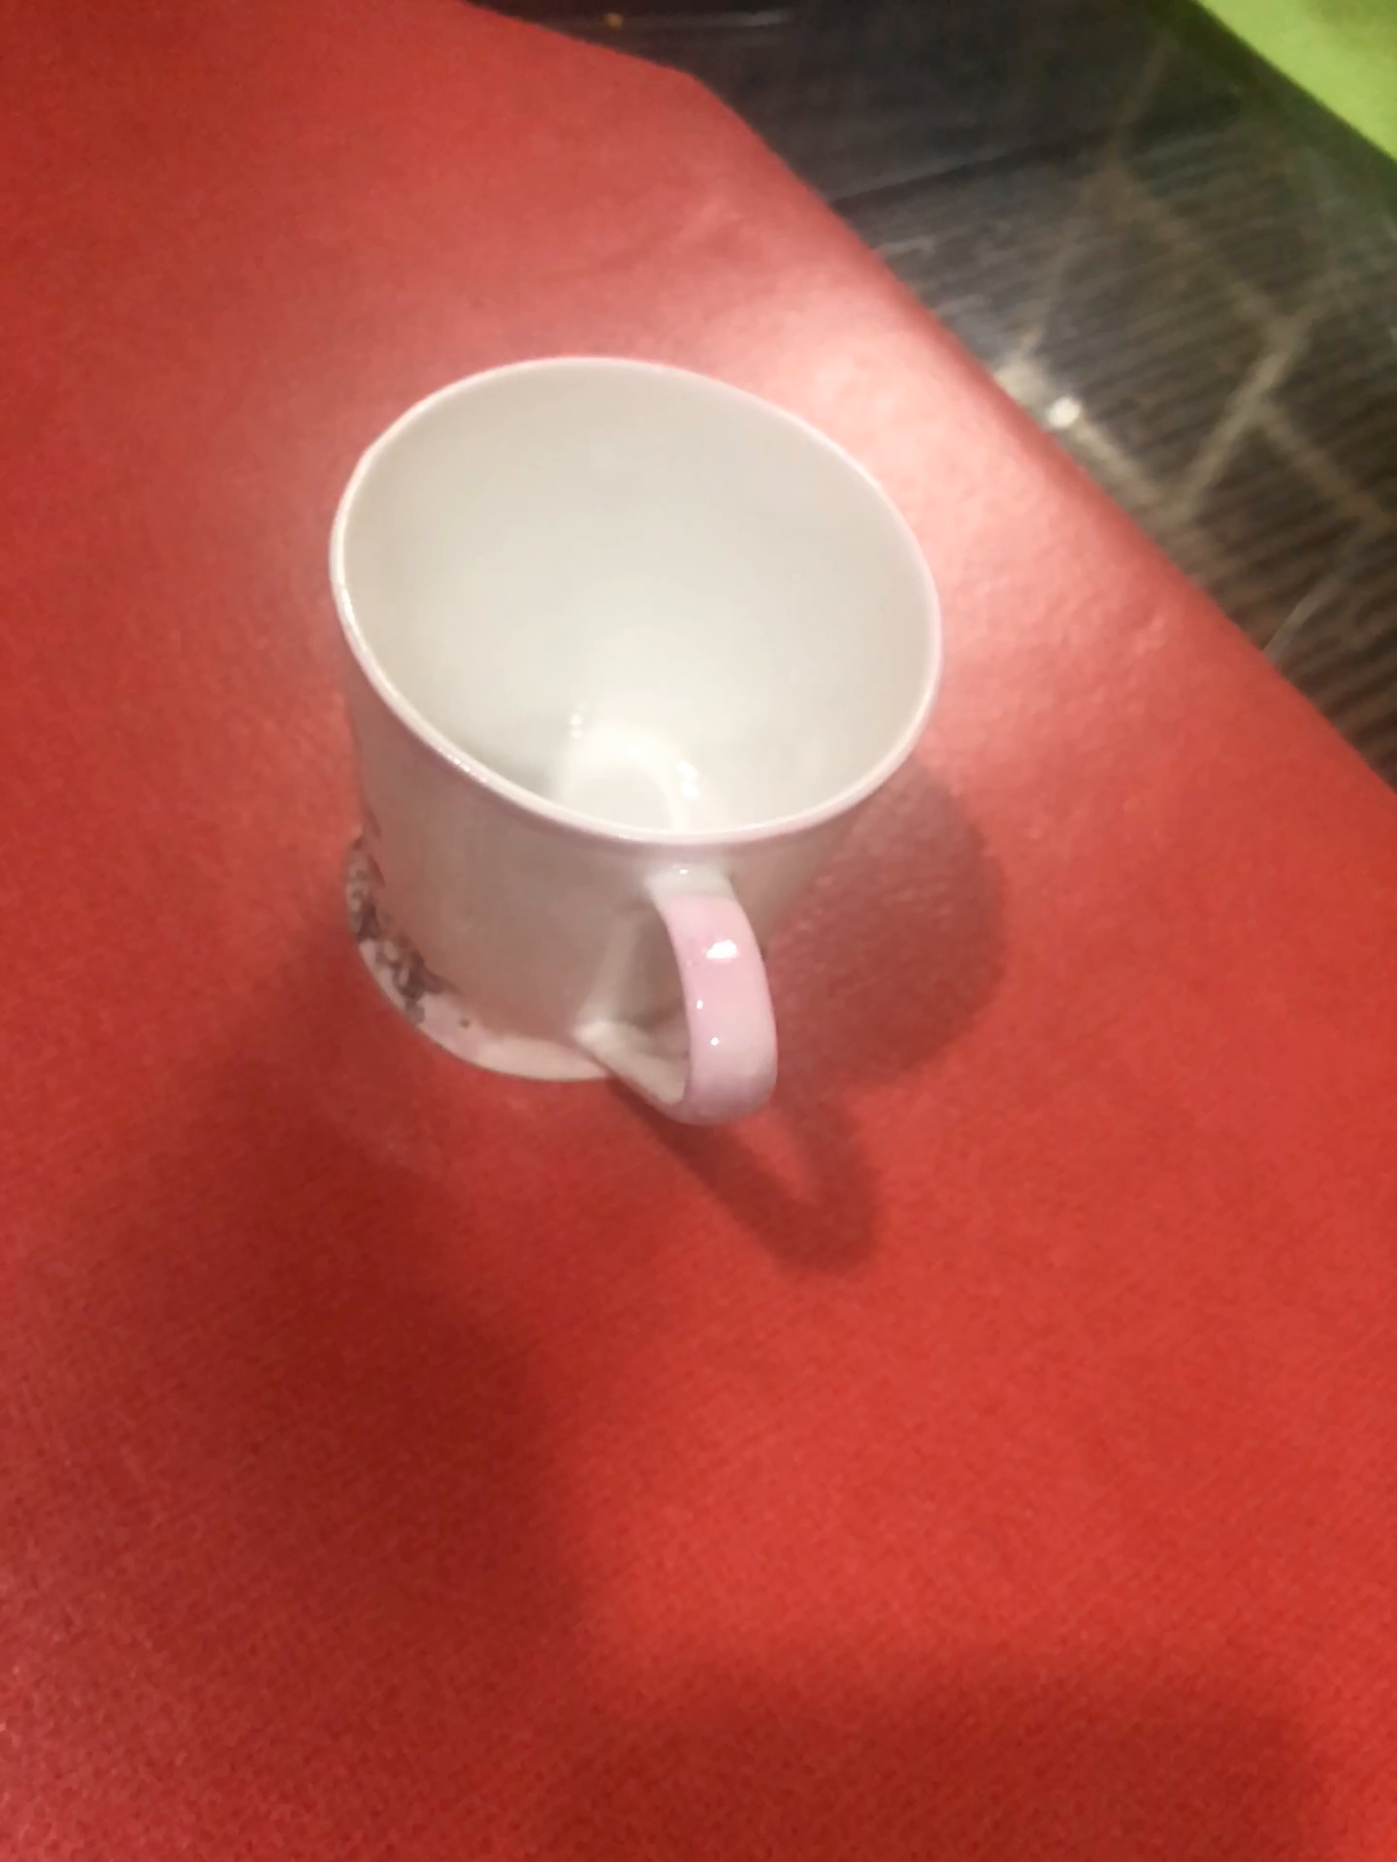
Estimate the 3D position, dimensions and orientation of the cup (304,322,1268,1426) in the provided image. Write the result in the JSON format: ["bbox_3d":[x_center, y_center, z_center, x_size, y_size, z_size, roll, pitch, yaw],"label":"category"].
[{"bbox_3d":[-0.001,-0.007,0.201,0.070,0.080,0.100,-14,63,-21],"label":"cup"}]
